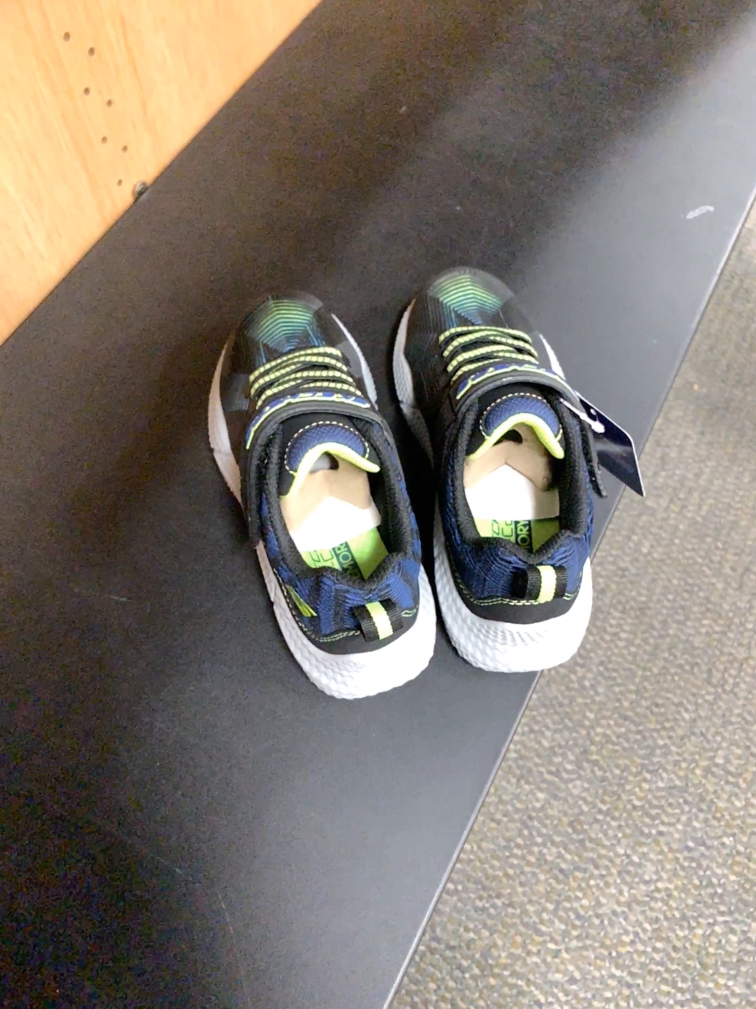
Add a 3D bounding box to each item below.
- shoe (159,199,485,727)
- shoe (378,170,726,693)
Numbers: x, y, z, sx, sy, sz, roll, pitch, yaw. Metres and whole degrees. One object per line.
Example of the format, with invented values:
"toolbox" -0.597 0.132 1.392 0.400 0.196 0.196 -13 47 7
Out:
"shoe" -0.033 -0.022 0.380 0.092 0.100 0.220 -13 65 -6
"shoe" 0.064 -0.037 0.376 0.098 0.100 0.220 -7 65 -3
